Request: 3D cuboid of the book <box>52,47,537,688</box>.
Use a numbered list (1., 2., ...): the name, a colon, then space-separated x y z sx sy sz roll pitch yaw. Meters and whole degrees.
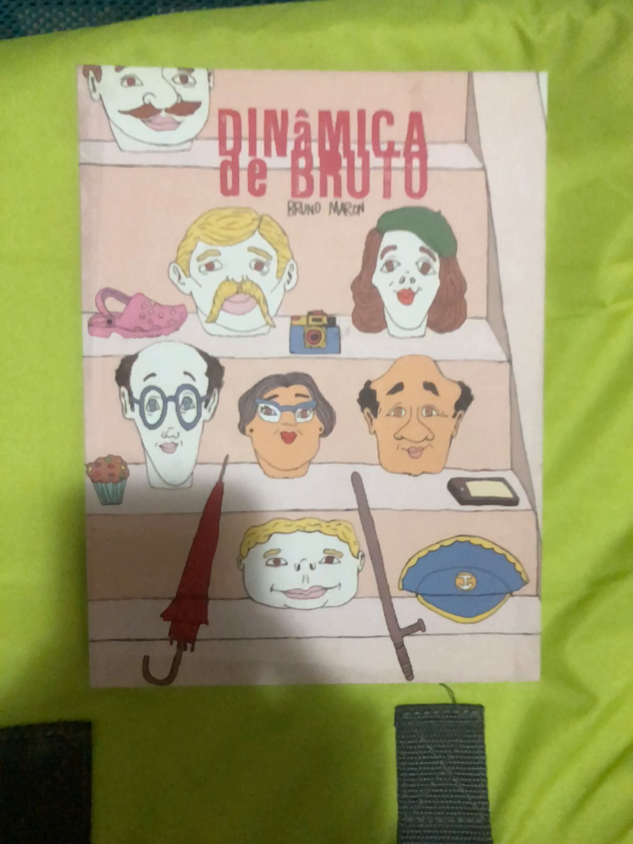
1. book: -0.007 -0.019 0.276 0.178 0.020 0.239 0 93 0
